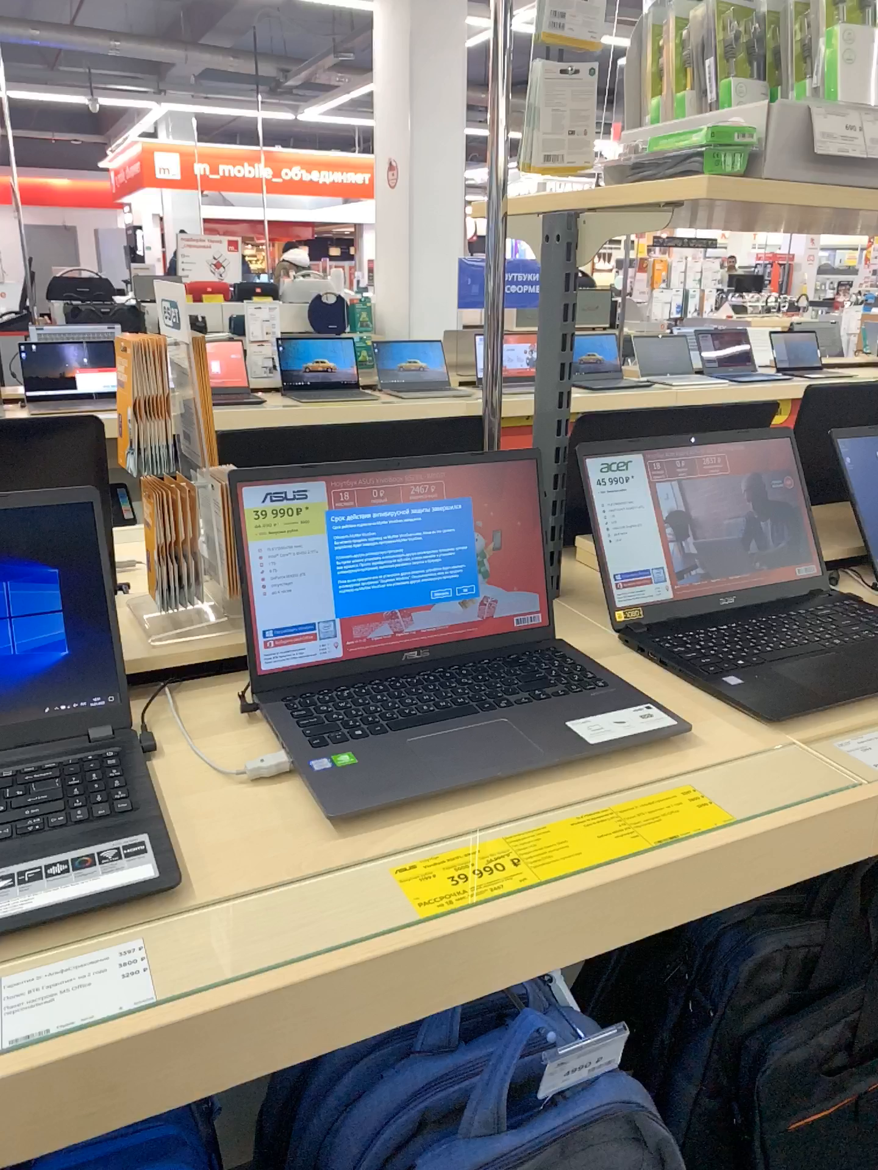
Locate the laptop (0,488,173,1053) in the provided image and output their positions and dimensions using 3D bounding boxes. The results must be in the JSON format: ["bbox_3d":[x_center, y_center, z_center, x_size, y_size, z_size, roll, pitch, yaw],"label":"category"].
[{"bbox_3d":[-0.419,0.078,0.682,0.350,0.214,0.362,-7,20,-25],"label":"laptop"}]

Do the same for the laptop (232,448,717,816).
[{"bbox_3d":[0.018,0.011,0.885,0.366,0.217,0.298,-8,21,-25],"label":"laptop"}]
